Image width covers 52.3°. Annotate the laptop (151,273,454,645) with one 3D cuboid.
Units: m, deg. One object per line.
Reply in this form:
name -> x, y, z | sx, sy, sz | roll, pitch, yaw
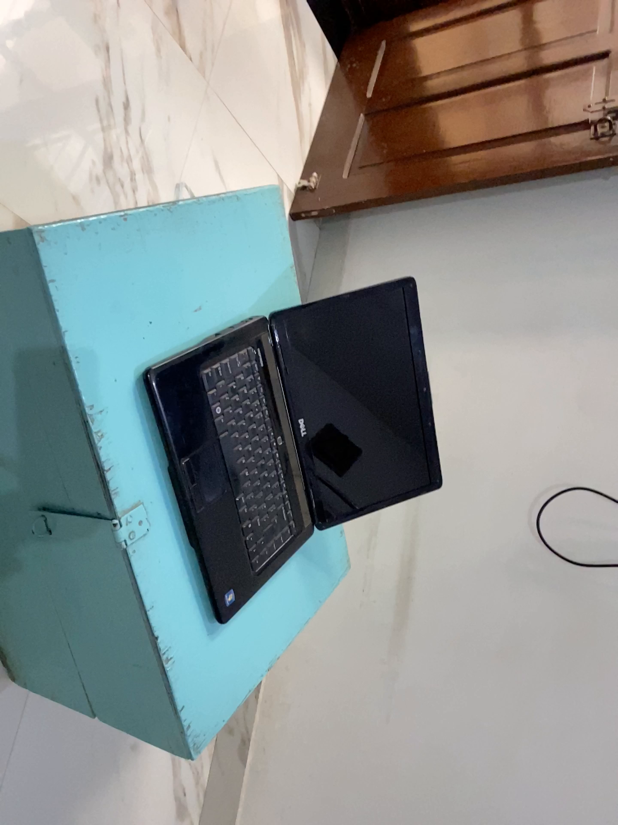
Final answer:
laptop -> 0.034, 0.038, 0.904 | 0.414, 0.162, 0.363 | -38, 123, -49
